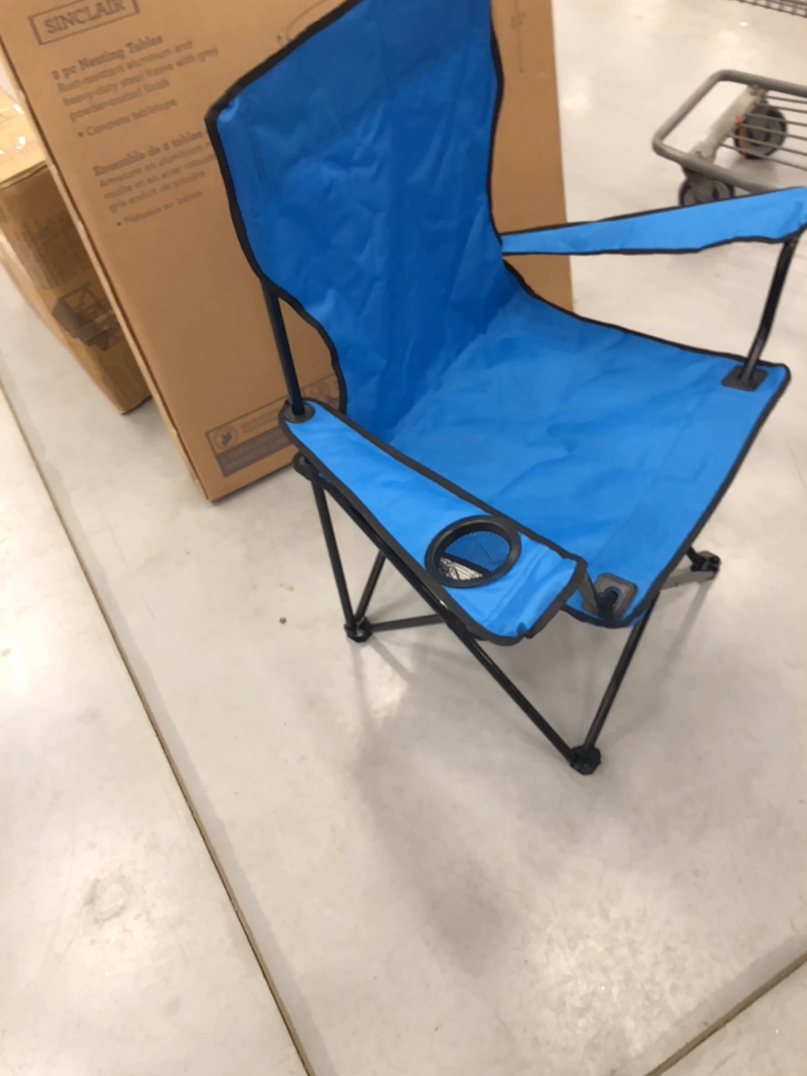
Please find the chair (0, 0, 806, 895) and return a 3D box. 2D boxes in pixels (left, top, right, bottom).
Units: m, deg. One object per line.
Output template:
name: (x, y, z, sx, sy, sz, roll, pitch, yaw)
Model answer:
chair: (0.142, -0.179, 1.170, 0.621, 0.837, 0.791, 26, 59, 25)
